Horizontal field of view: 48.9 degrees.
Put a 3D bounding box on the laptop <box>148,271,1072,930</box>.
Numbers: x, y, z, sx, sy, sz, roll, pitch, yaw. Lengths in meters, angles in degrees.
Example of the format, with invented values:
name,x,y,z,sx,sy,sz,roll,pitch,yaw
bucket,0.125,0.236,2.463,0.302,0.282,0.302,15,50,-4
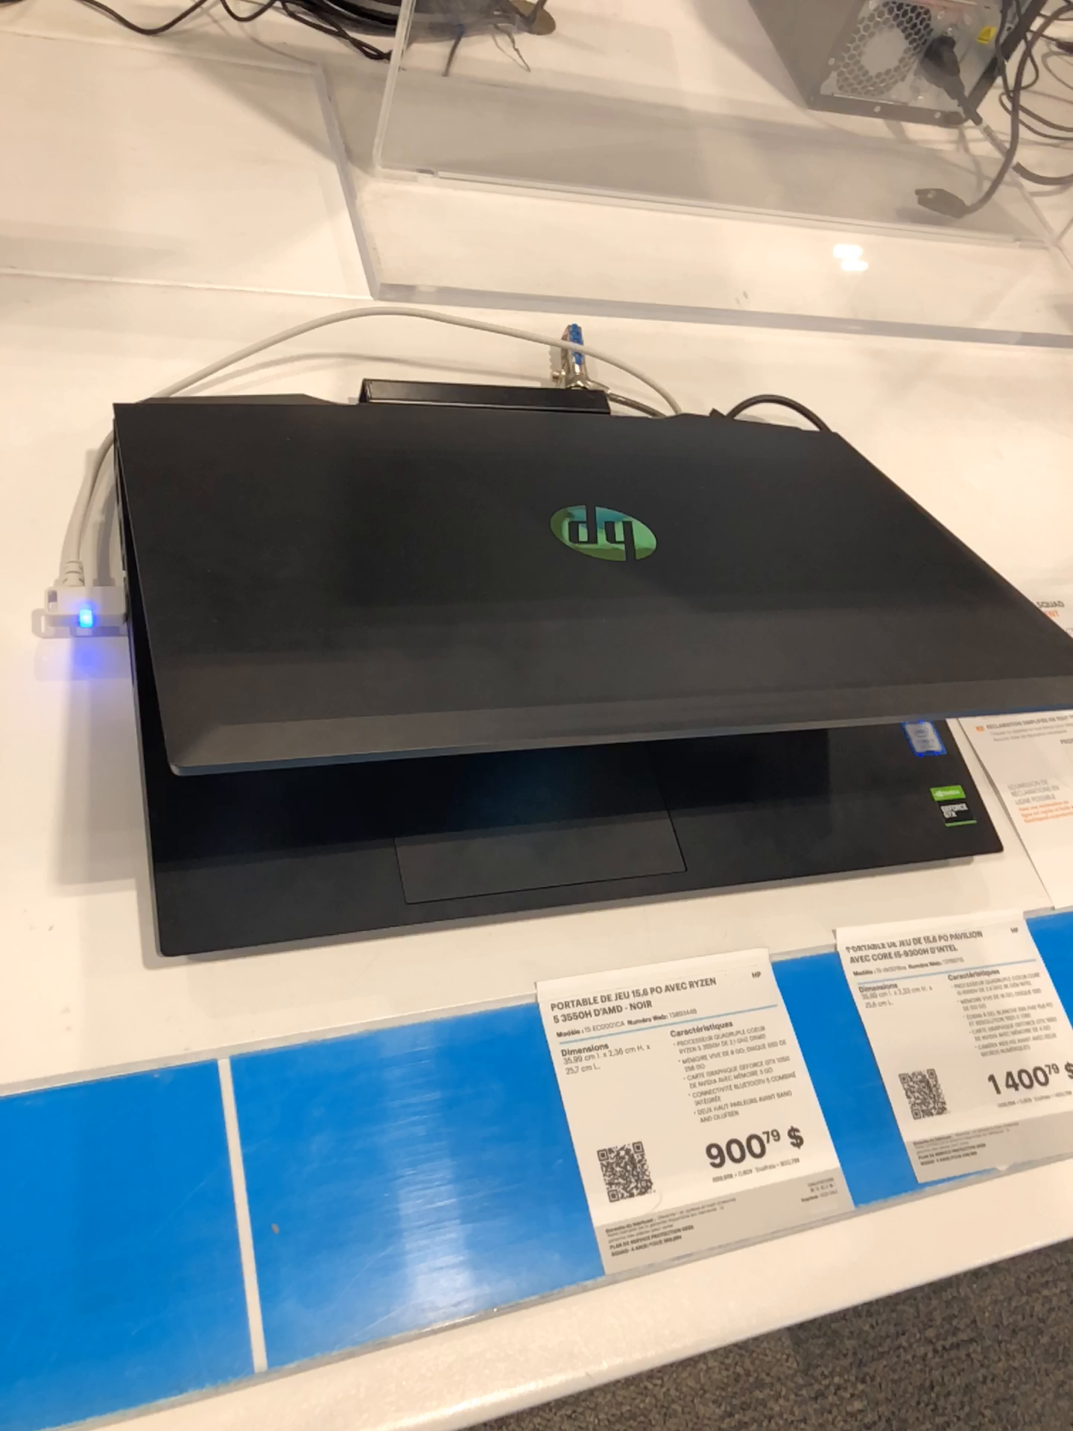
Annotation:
name,x,y,z,sx,sy,sz,roll,pitch,yaw
laptop,0.031,-0.056,0.476,0.340,0.064,0.221,-4,65,-23
